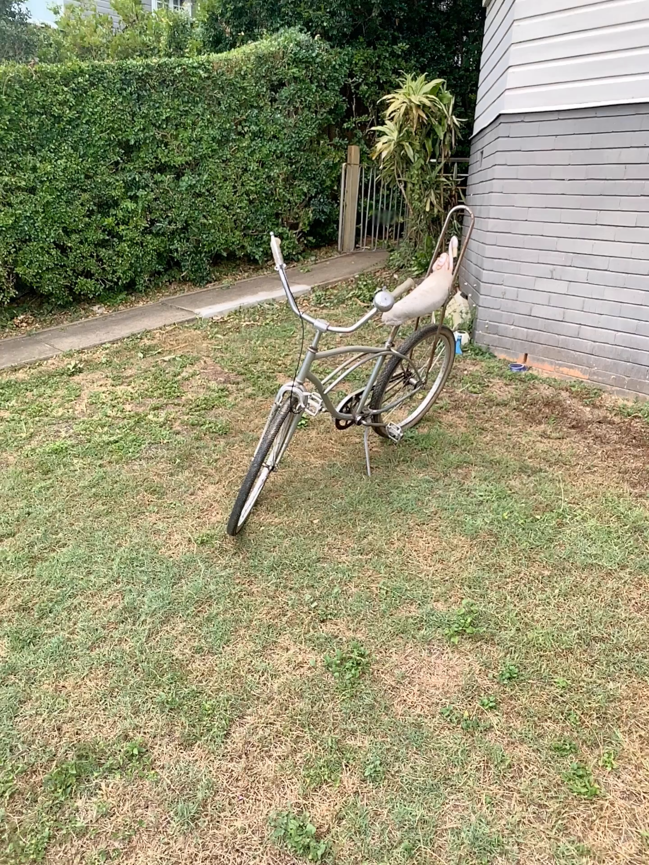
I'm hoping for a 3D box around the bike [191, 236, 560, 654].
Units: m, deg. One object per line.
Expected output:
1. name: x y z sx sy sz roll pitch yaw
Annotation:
1. bike: 0.274 -0.136 2.957 0.802 0.990 1.604 16 32 36
